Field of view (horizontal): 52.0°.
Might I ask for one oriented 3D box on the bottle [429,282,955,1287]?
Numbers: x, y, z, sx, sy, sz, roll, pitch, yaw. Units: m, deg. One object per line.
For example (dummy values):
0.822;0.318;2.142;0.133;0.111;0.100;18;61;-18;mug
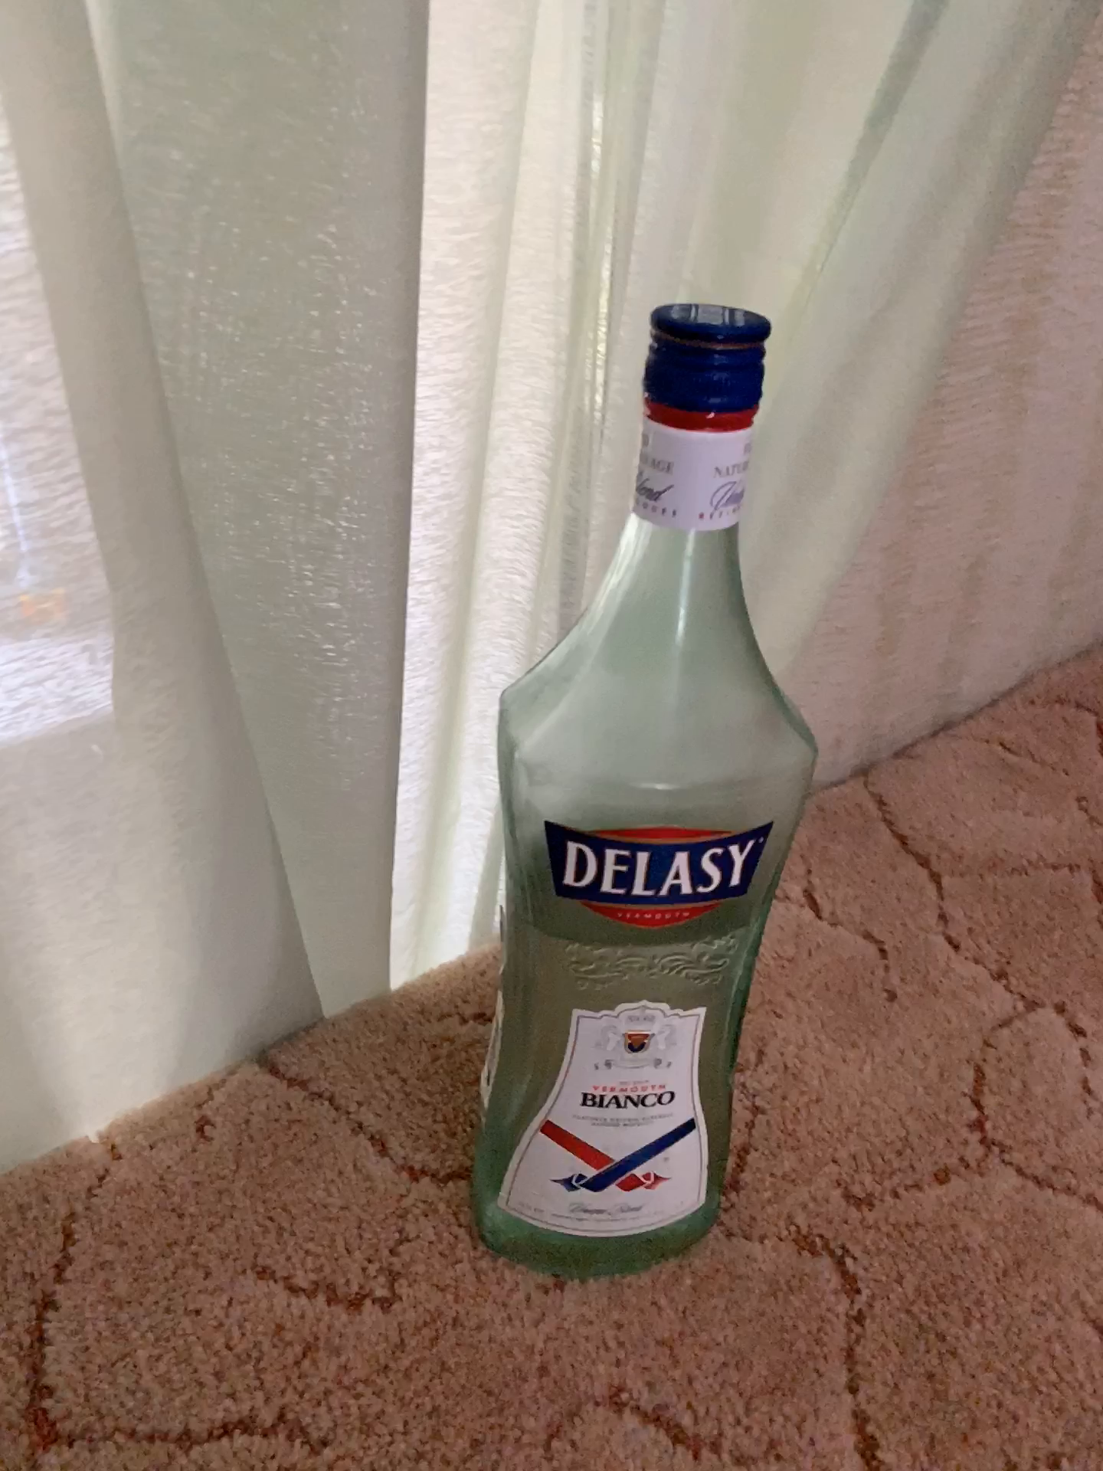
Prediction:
0.023;0.042;0.346;0.110;0.327;0.061;1;32;-3;bottle
